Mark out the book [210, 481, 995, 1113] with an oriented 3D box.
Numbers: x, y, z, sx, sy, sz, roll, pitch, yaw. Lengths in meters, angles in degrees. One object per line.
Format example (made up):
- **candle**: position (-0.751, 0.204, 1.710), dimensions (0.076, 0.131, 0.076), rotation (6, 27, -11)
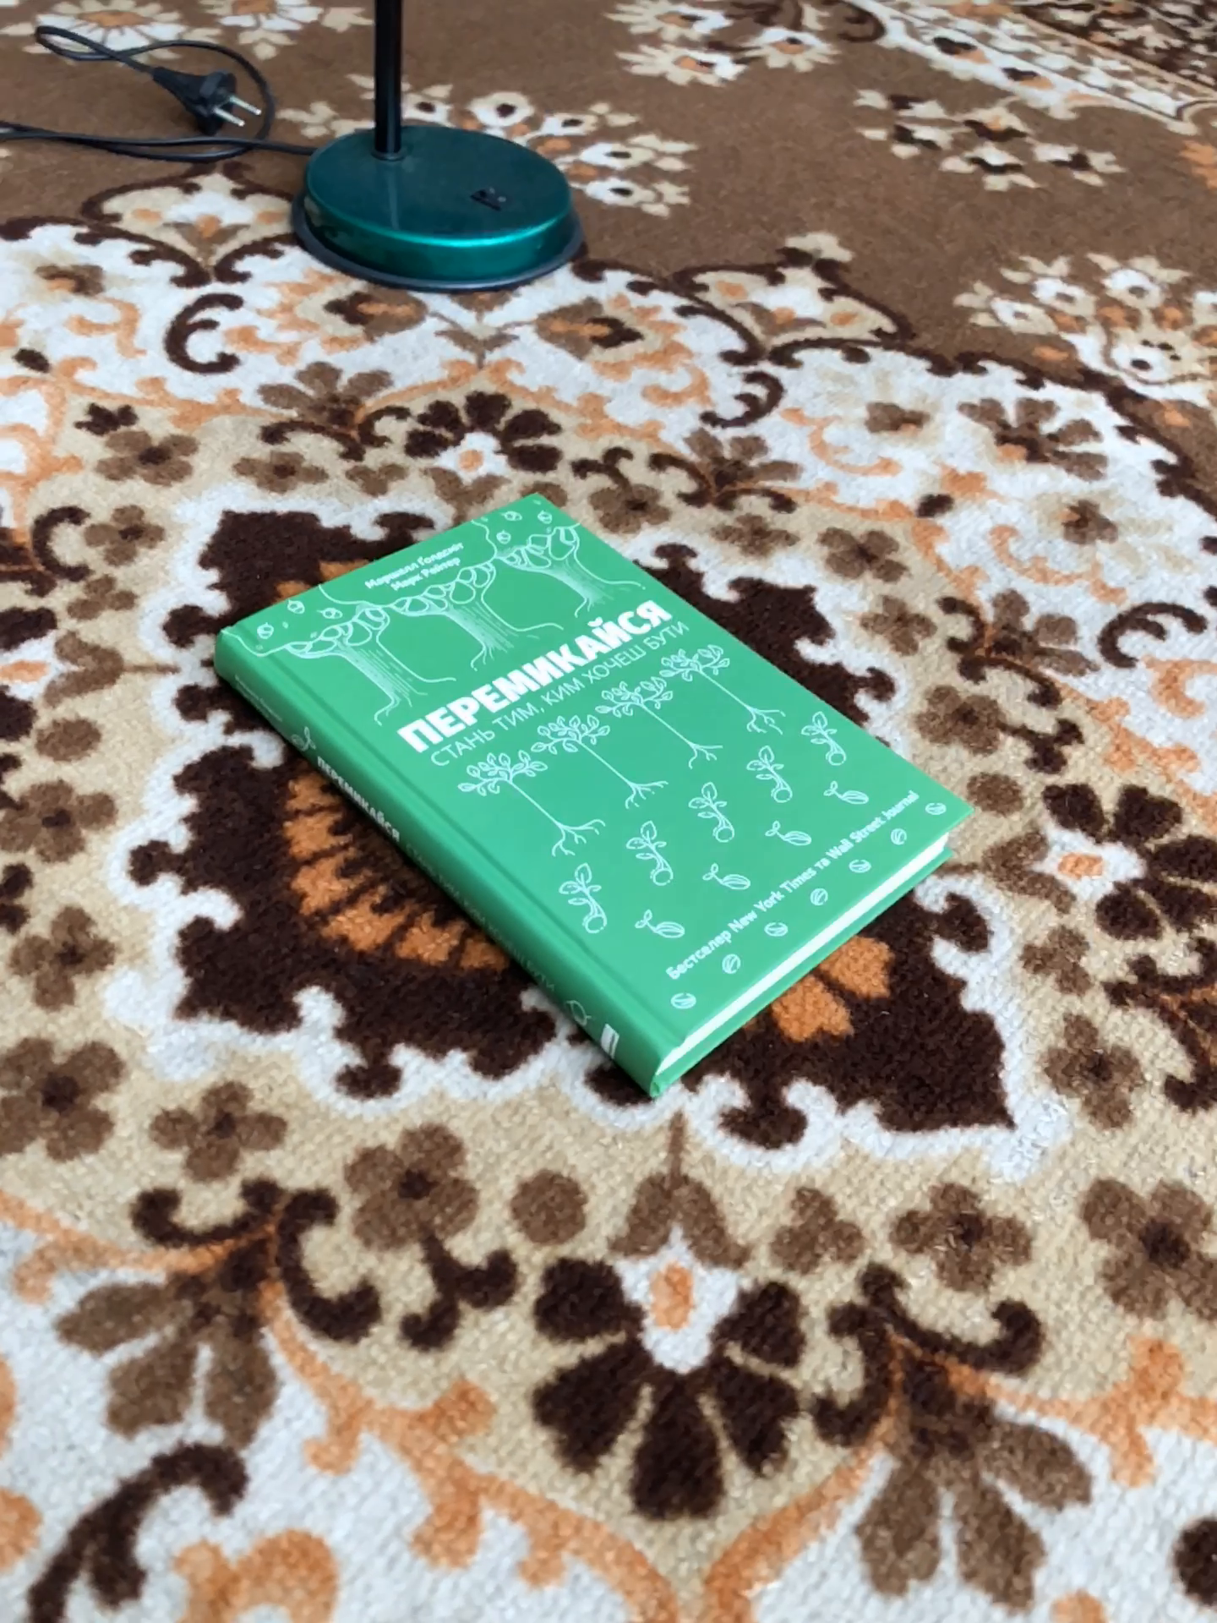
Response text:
- **book**: position (-0.005, -0.022, 0.413), dimensions (0.138, 0.023, 0.202), rotation (-32, 59, -32)
